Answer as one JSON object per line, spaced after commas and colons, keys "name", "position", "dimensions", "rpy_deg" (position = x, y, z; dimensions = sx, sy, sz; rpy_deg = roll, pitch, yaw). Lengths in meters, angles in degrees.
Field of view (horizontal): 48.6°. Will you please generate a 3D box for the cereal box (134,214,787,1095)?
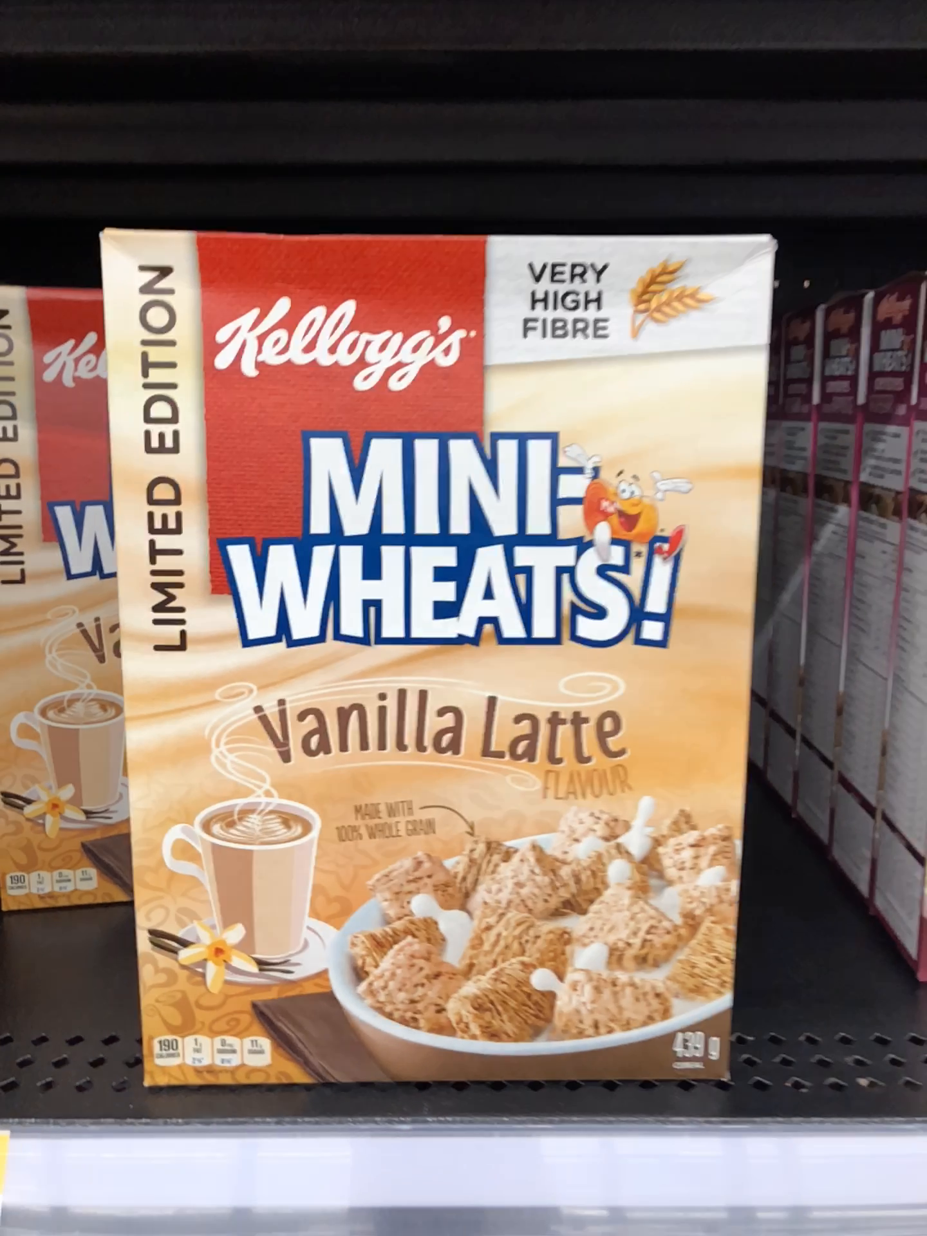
{"name": "cereal box", "position": [0.000, 0.015, 0.351], "dimensions": [0.190, 0.279, 0.060], "rpy_deg": [0, 9, 0]}
